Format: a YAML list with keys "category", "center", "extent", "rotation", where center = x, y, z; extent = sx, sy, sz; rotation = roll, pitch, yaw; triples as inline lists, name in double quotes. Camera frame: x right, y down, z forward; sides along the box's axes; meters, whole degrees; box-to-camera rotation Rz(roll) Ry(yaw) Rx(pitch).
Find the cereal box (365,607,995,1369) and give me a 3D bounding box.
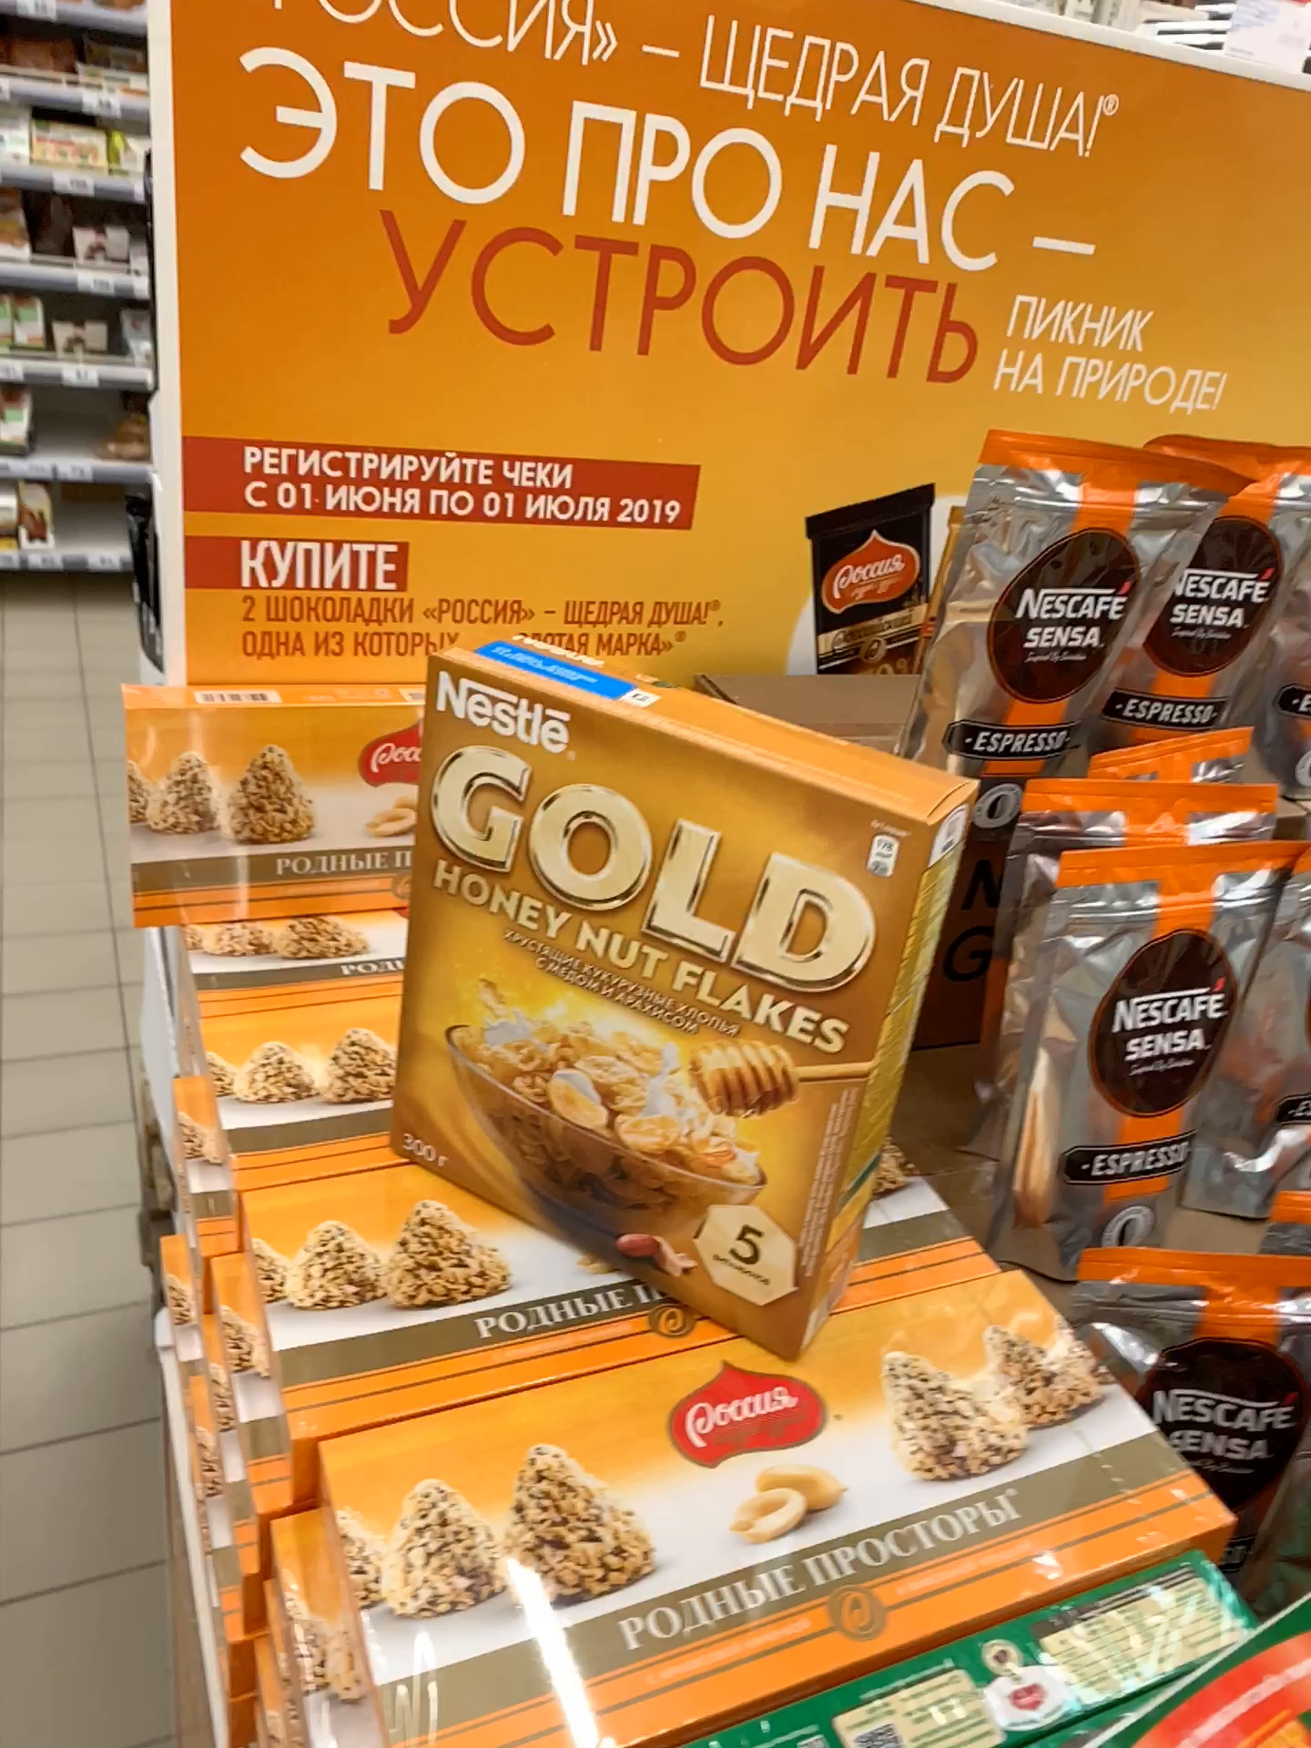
- category: "cereal box"
  center: [-0.006, 0.039, 0.500]
  extent: [0.200, 0.219, 0.060]
  rotation: [21, 29, 23]
